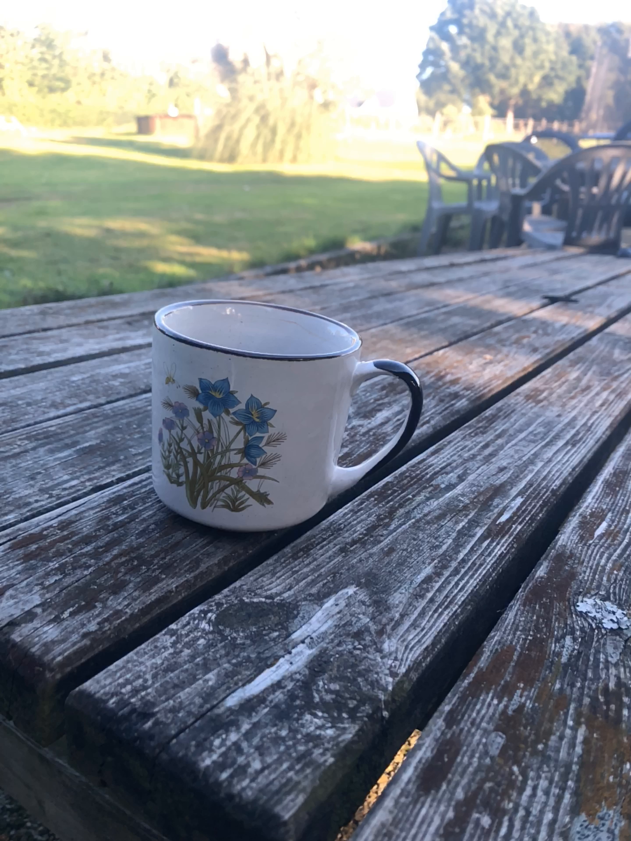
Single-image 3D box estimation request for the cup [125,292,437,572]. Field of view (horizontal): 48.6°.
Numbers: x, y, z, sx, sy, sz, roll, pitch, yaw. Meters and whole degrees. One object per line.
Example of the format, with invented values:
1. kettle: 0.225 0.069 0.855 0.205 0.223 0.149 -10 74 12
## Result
1. cup: -0.010 -0.002 0.296 0.108 0.078 0.087 9 19 9
